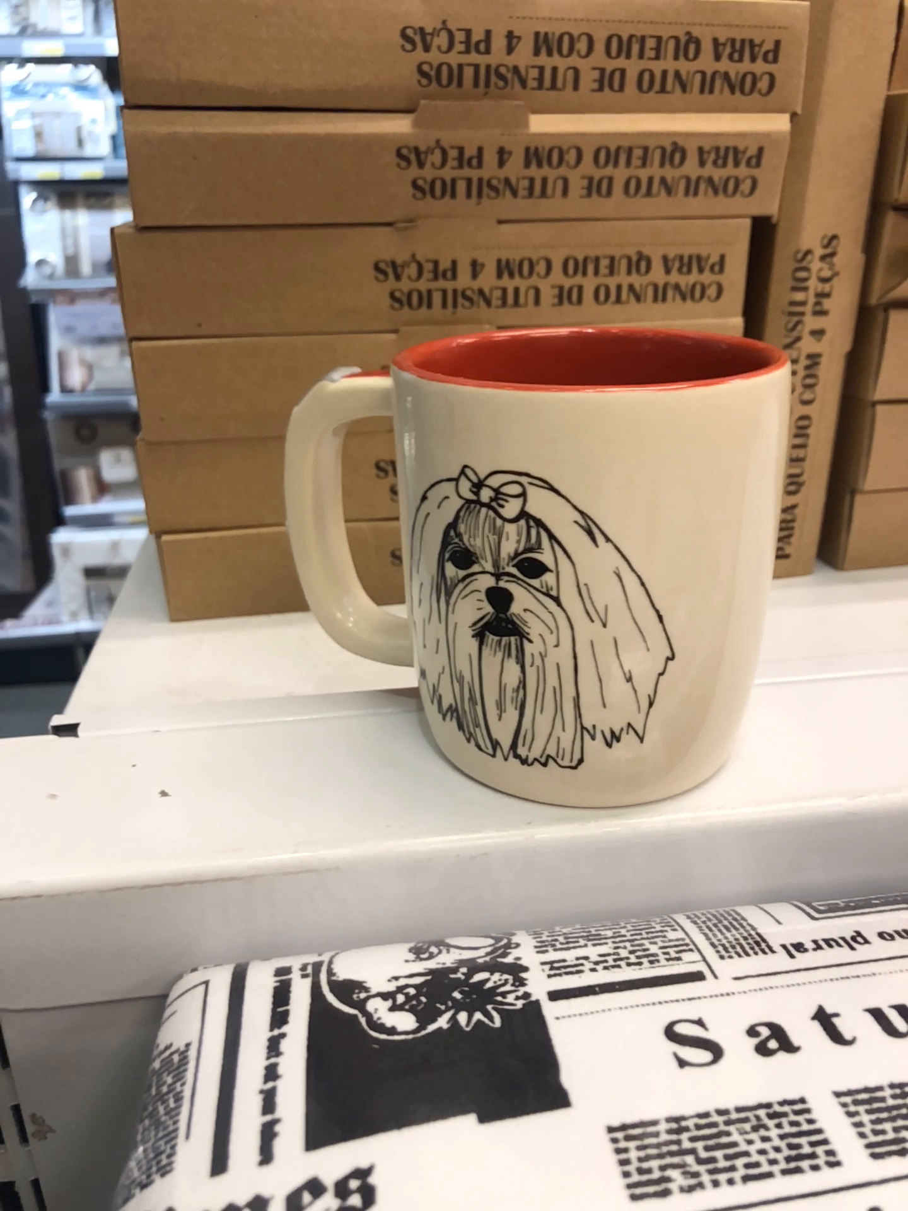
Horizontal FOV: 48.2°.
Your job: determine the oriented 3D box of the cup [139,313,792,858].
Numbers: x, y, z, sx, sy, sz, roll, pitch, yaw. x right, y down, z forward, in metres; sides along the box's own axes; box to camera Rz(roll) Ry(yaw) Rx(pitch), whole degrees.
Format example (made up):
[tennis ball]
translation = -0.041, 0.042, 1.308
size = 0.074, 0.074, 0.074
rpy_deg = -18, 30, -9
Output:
[cup]
translation = 0.011, -0.015, 0.235
size = 0.120, 0.089, 0.091
rpy_deg = 5, 23, 16
